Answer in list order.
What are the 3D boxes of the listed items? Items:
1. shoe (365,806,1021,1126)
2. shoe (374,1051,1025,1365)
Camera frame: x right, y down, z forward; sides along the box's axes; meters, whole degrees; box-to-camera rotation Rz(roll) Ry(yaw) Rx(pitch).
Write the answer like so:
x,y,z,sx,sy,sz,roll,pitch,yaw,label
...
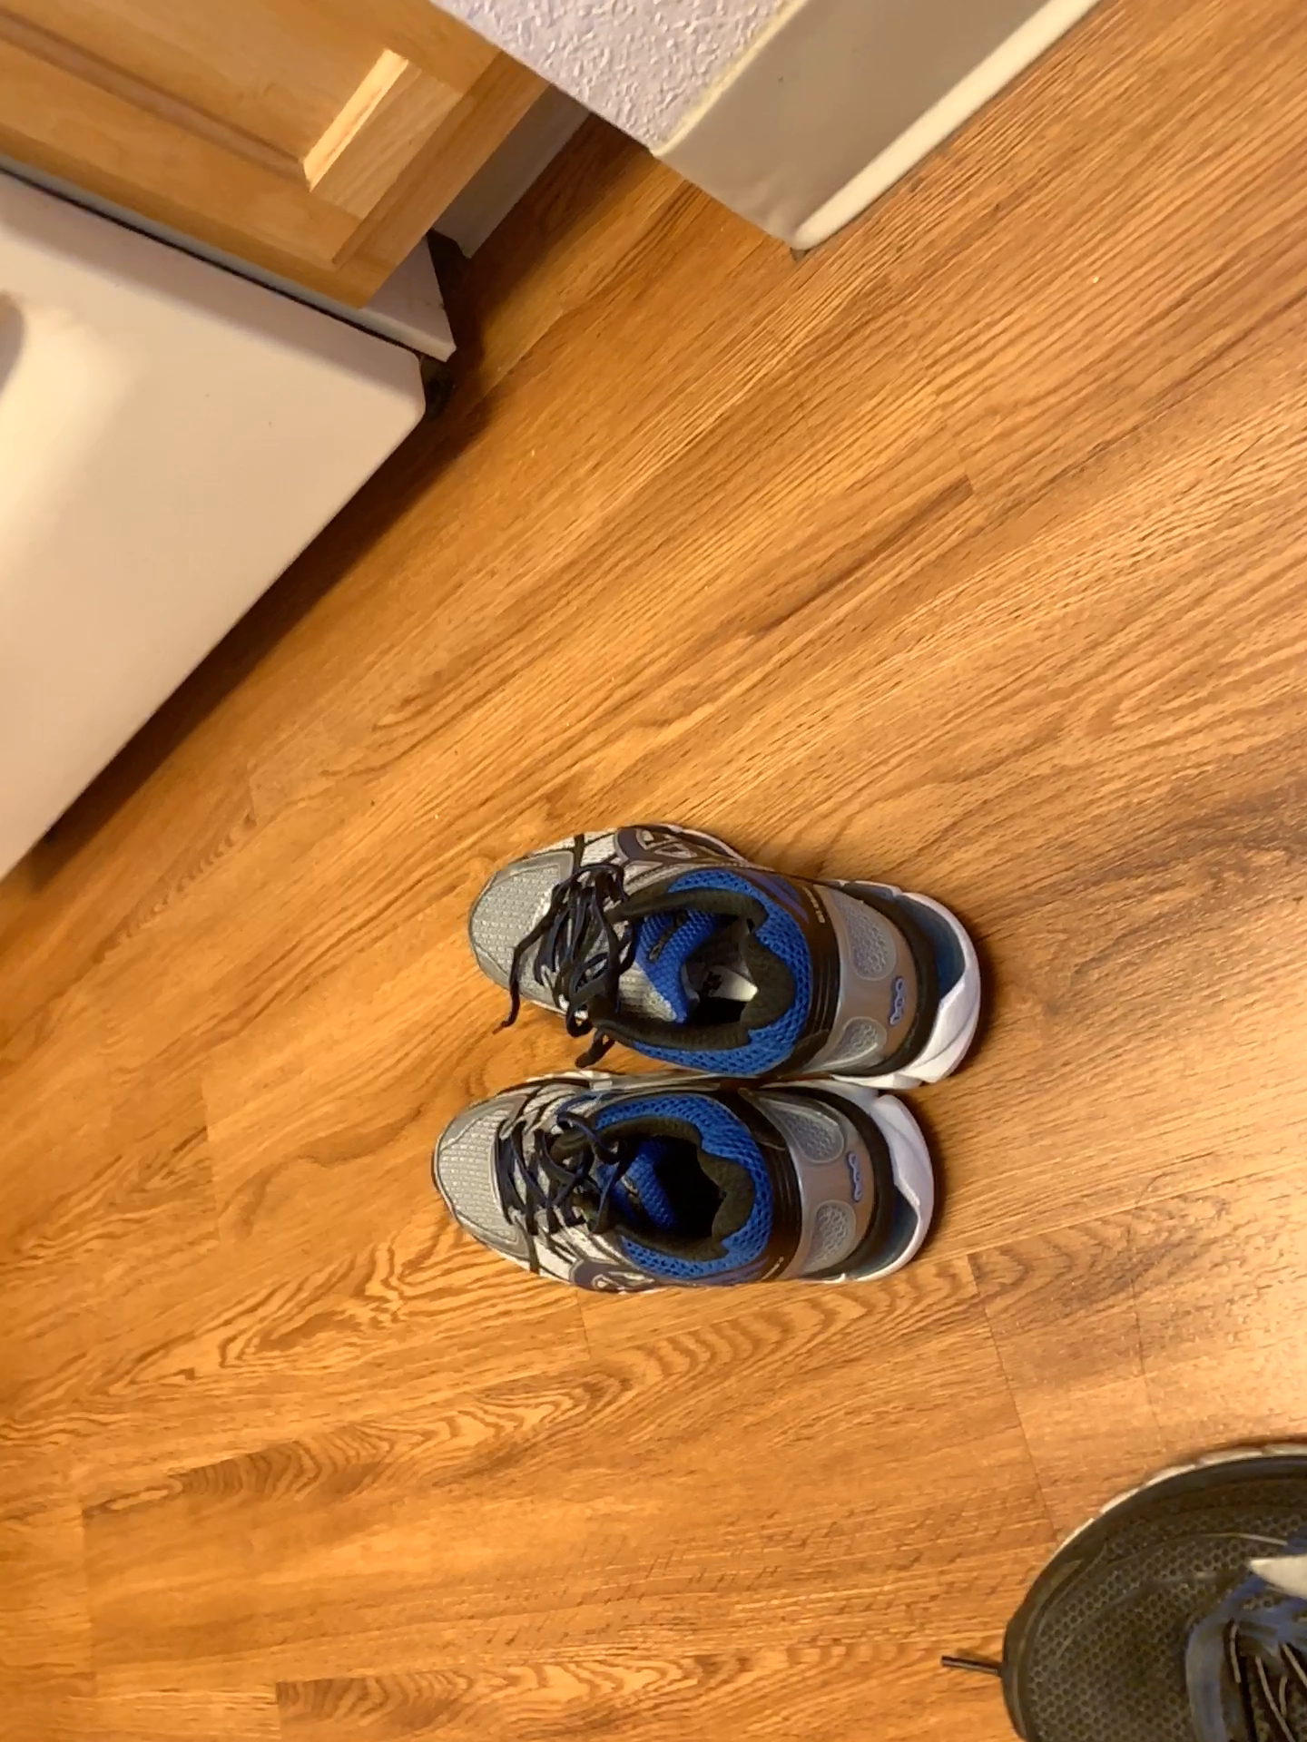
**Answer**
x,y,z,sx,sy,sz,roll,pitch,yaw,label
0.005,0.034,0.617,0.282,0.129,0.110,4,88,45,shoe
0.006,0.147,0.630,0.293,0.129,0.110,-11,77,44,shoe
